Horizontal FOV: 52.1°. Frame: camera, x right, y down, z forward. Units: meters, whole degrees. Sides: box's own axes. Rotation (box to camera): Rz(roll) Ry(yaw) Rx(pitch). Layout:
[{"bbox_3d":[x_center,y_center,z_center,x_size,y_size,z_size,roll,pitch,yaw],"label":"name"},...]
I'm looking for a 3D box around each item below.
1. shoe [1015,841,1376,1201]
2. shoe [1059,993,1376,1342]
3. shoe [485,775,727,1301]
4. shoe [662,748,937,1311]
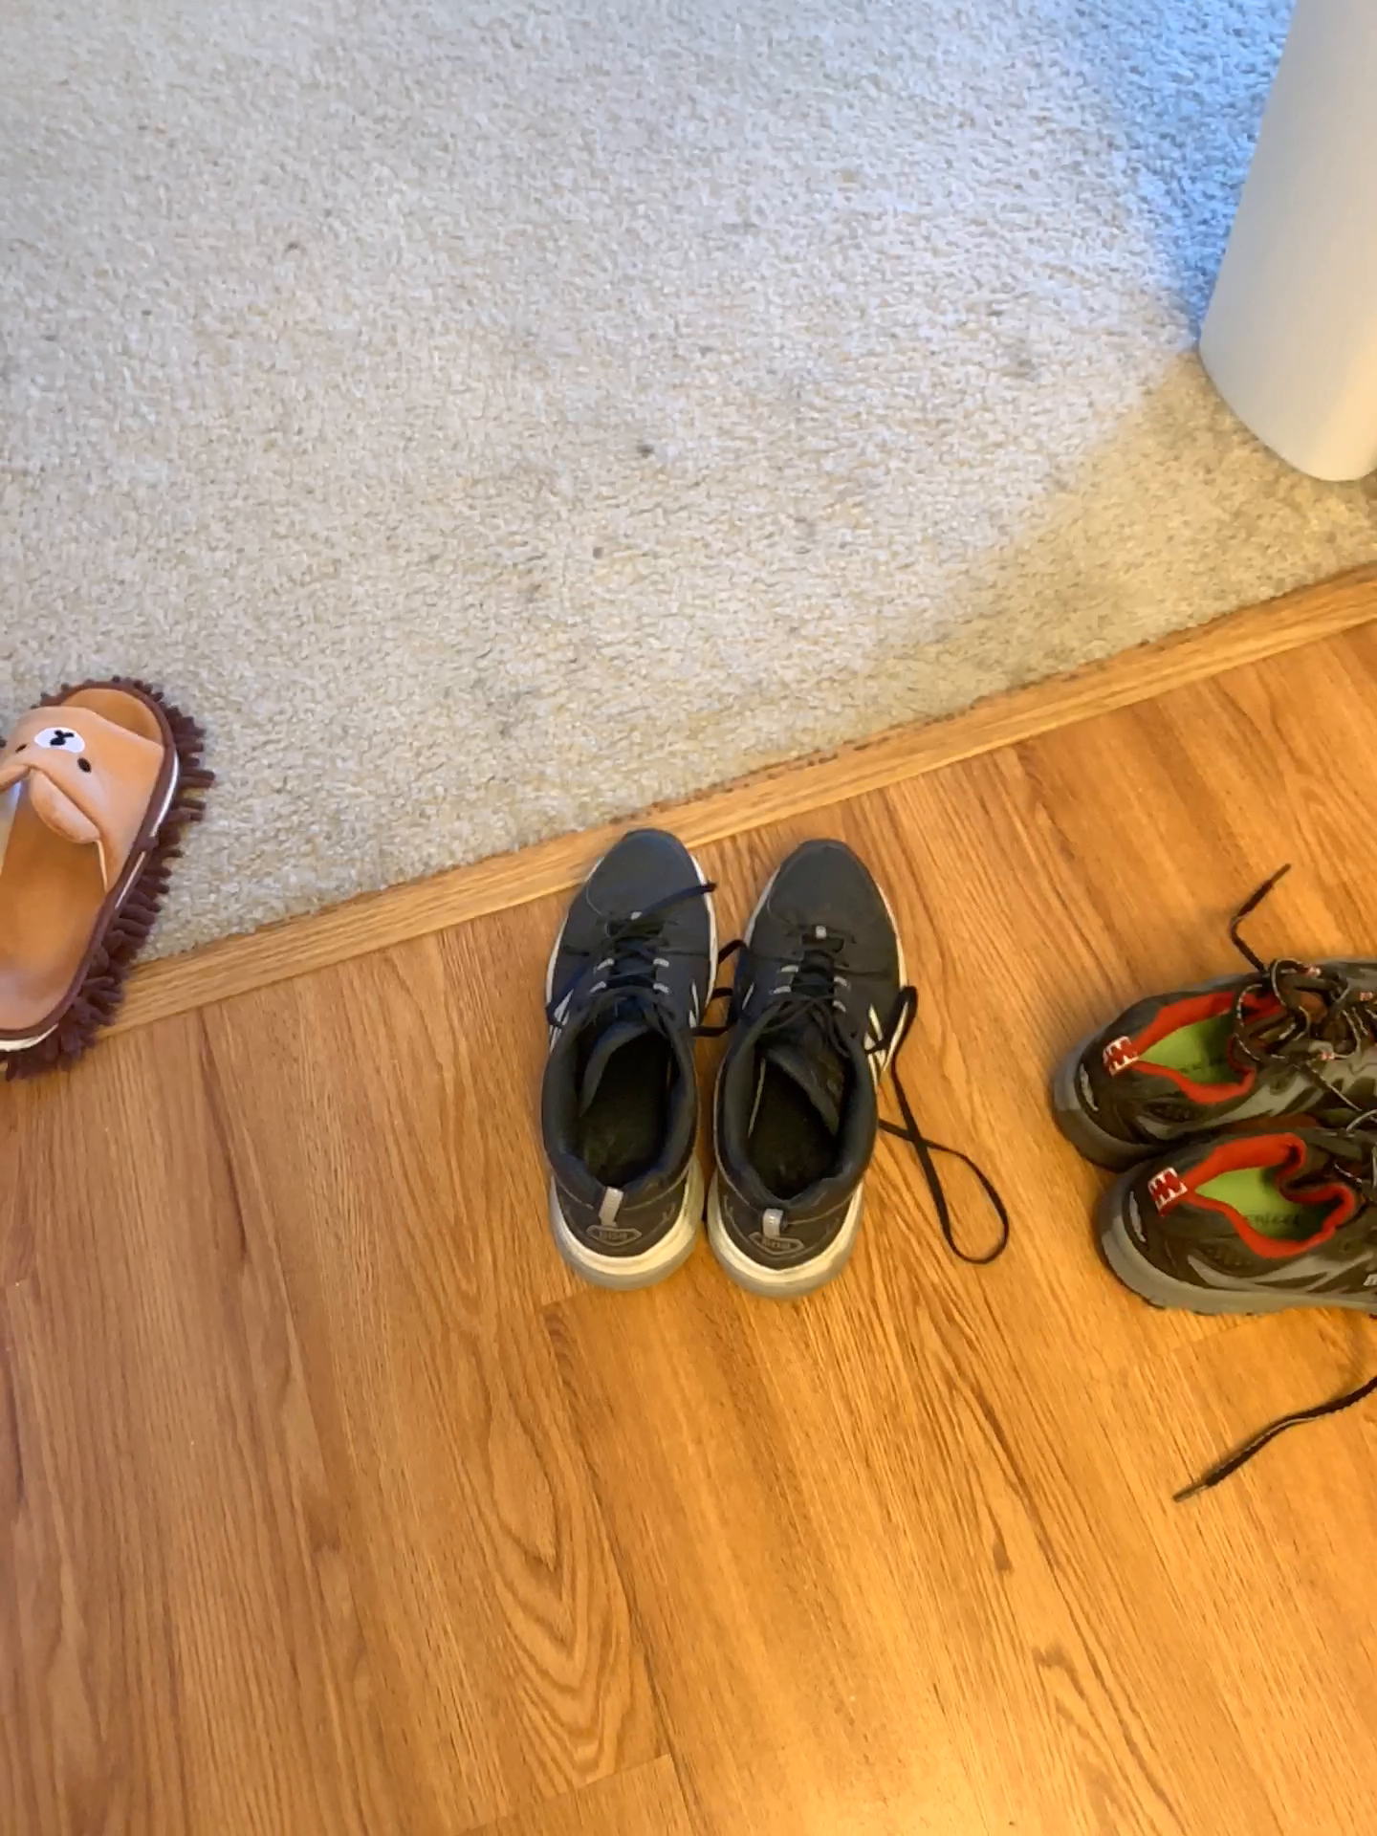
[{"bbox_3d":[0.379,0.069,0.867,0.300,0.170,0.120,-9,64,-3],"label":"shoe"},{"bbox_3d":[0.413,0.155,0.843,0.320,0.180,0.140,-4,64,0],"label":"shoe"},{"bbox_3d":[-0.042,0.074,0.899,0.130,0.120,0.311,1,64,2],"label":"shoe"},{"bbox_3d":[0.070,0.065,0.854,0.120,0.130,0.301,7,65,5],"label":"shoe"}]
